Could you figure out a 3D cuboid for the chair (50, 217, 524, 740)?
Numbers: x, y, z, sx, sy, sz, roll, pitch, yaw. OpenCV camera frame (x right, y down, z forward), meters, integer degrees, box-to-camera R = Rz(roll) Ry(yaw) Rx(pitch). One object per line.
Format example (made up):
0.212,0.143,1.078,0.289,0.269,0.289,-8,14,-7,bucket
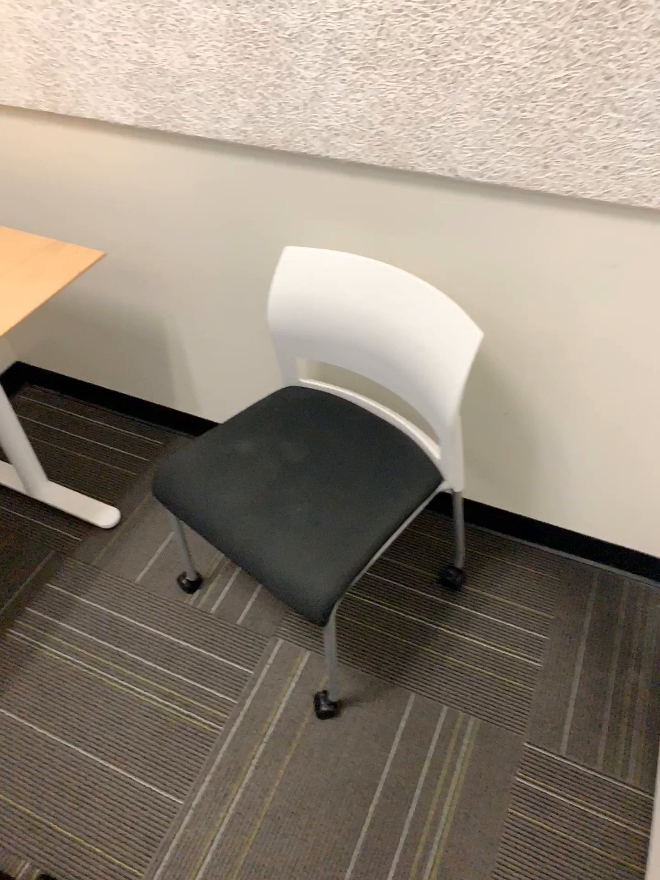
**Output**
-0.059,0.076,1.393,0.582,0.736,0.541,31,55,29,chair
